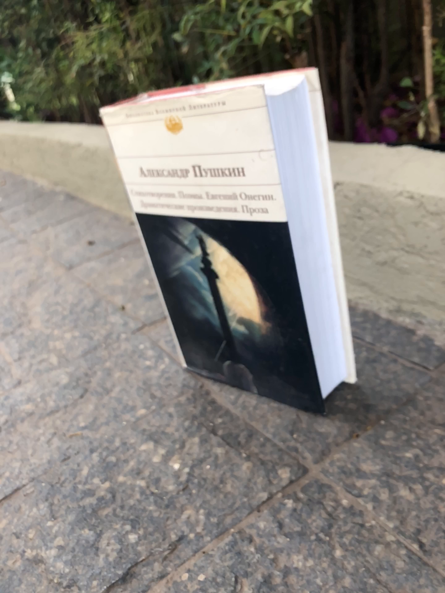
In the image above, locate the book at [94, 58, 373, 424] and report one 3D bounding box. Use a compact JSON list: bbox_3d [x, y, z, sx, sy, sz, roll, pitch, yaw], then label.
[{"bbox_3d":[0.011,-0.033,0.332,0.150,0.204,0.050,11,35,39],"label":"book"}]
